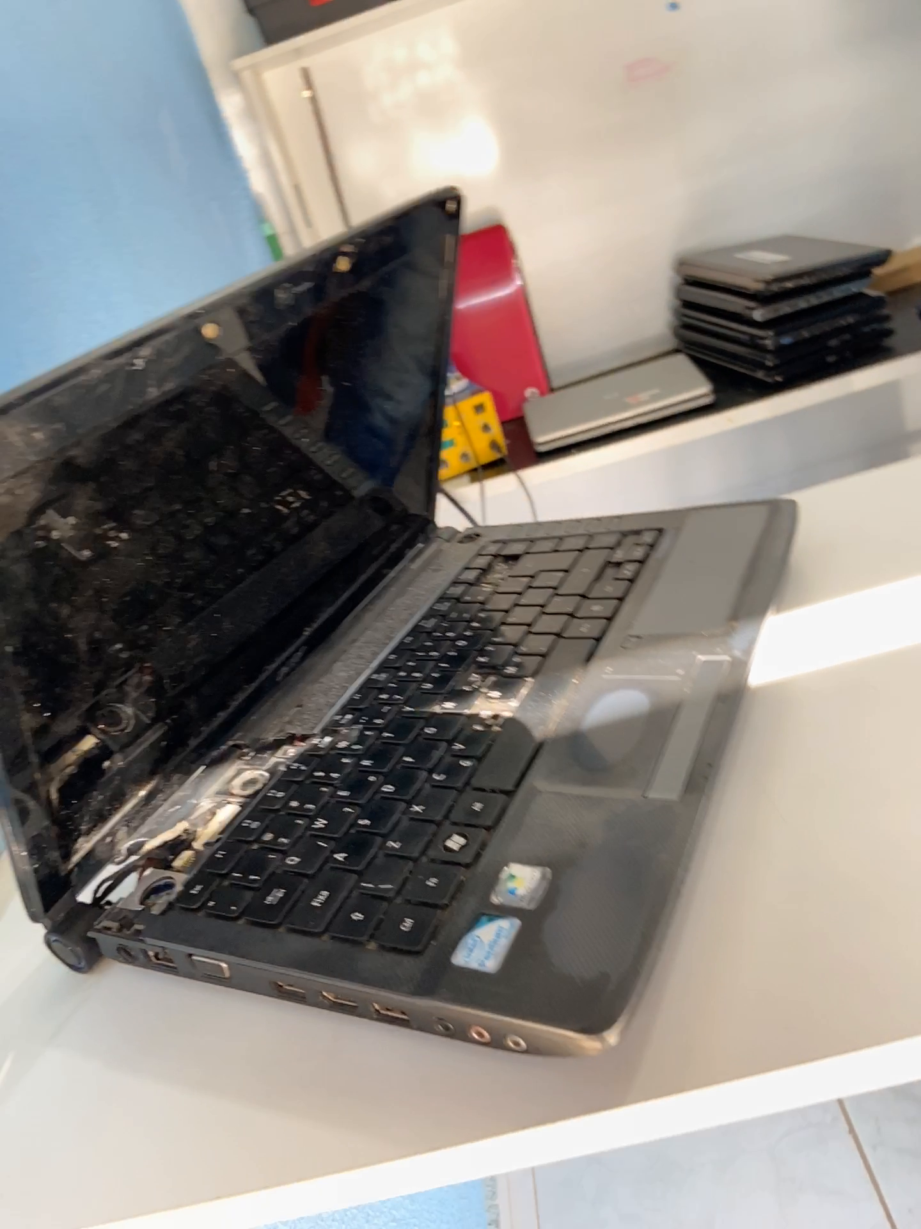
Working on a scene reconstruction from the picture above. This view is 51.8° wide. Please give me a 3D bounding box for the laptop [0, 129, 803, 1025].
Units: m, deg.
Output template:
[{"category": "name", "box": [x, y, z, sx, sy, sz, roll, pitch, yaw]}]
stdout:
[{"category": "laptop", "box": [-0.018, -0.051, 0.399, 0.228, 0.182, 0.335, -2, 30, 31]}]
